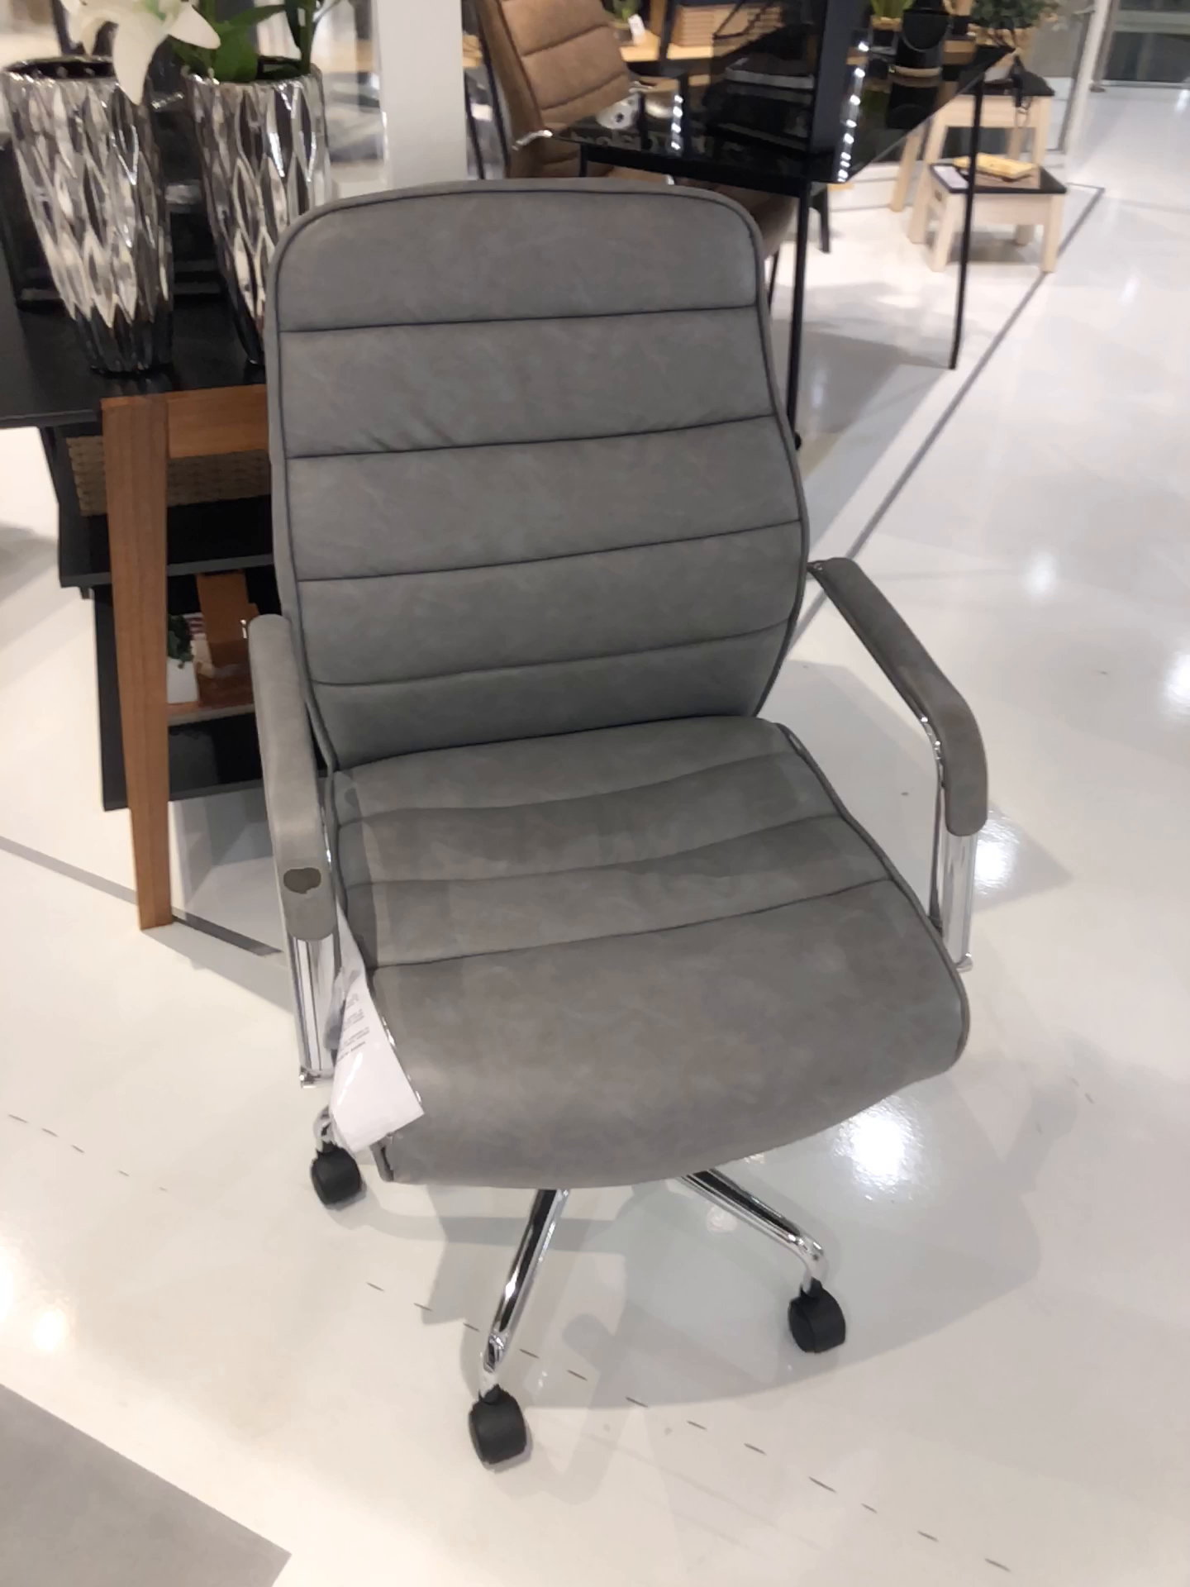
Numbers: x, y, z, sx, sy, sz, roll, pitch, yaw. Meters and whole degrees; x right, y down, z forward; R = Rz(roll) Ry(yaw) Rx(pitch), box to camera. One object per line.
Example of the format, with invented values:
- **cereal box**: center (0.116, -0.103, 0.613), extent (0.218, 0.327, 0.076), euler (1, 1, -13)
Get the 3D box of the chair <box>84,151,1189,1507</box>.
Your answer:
- **chair**: center (-0.001, 0.056, 1.141), extent (0.600, 0.993, 0.554), euler (-7, 40, -11)
